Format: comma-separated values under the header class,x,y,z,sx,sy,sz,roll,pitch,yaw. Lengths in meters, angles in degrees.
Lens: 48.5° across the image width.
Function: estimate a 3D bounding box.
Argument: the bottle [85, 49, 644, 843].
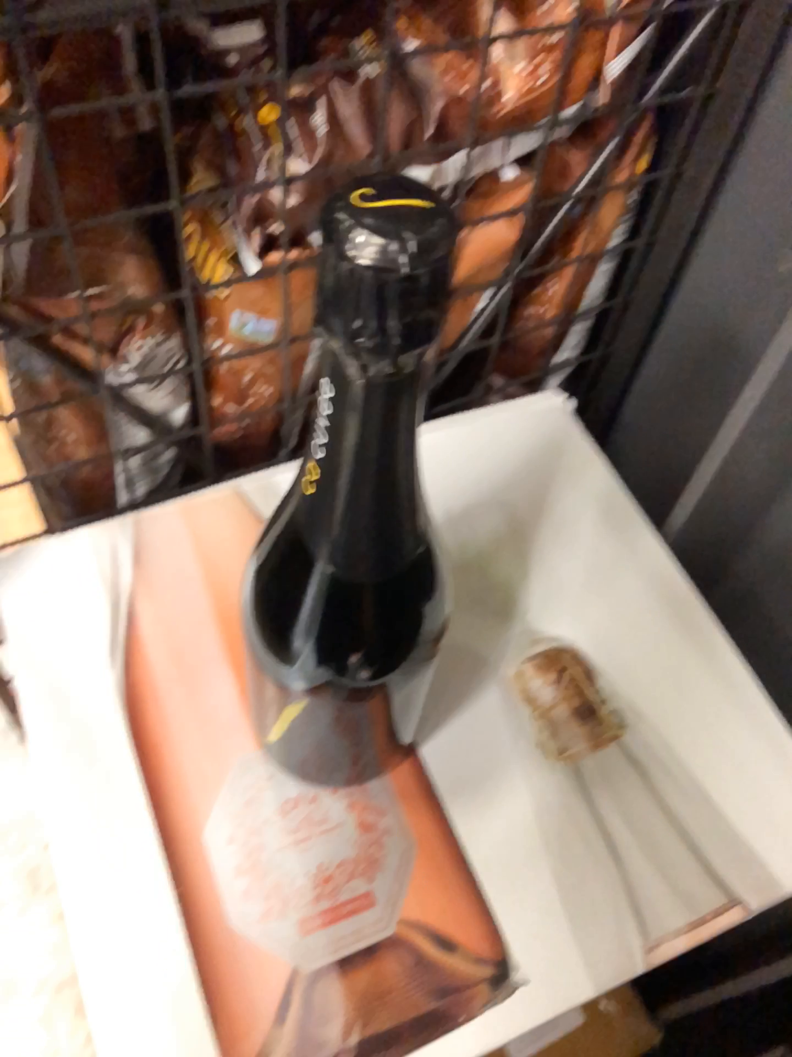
class,x,y,z,sx,sy,sz,roll,pitch,yaw
bottle,-0.020,0.006,0.316,0.090,0.289,0.090,3,54,-4
